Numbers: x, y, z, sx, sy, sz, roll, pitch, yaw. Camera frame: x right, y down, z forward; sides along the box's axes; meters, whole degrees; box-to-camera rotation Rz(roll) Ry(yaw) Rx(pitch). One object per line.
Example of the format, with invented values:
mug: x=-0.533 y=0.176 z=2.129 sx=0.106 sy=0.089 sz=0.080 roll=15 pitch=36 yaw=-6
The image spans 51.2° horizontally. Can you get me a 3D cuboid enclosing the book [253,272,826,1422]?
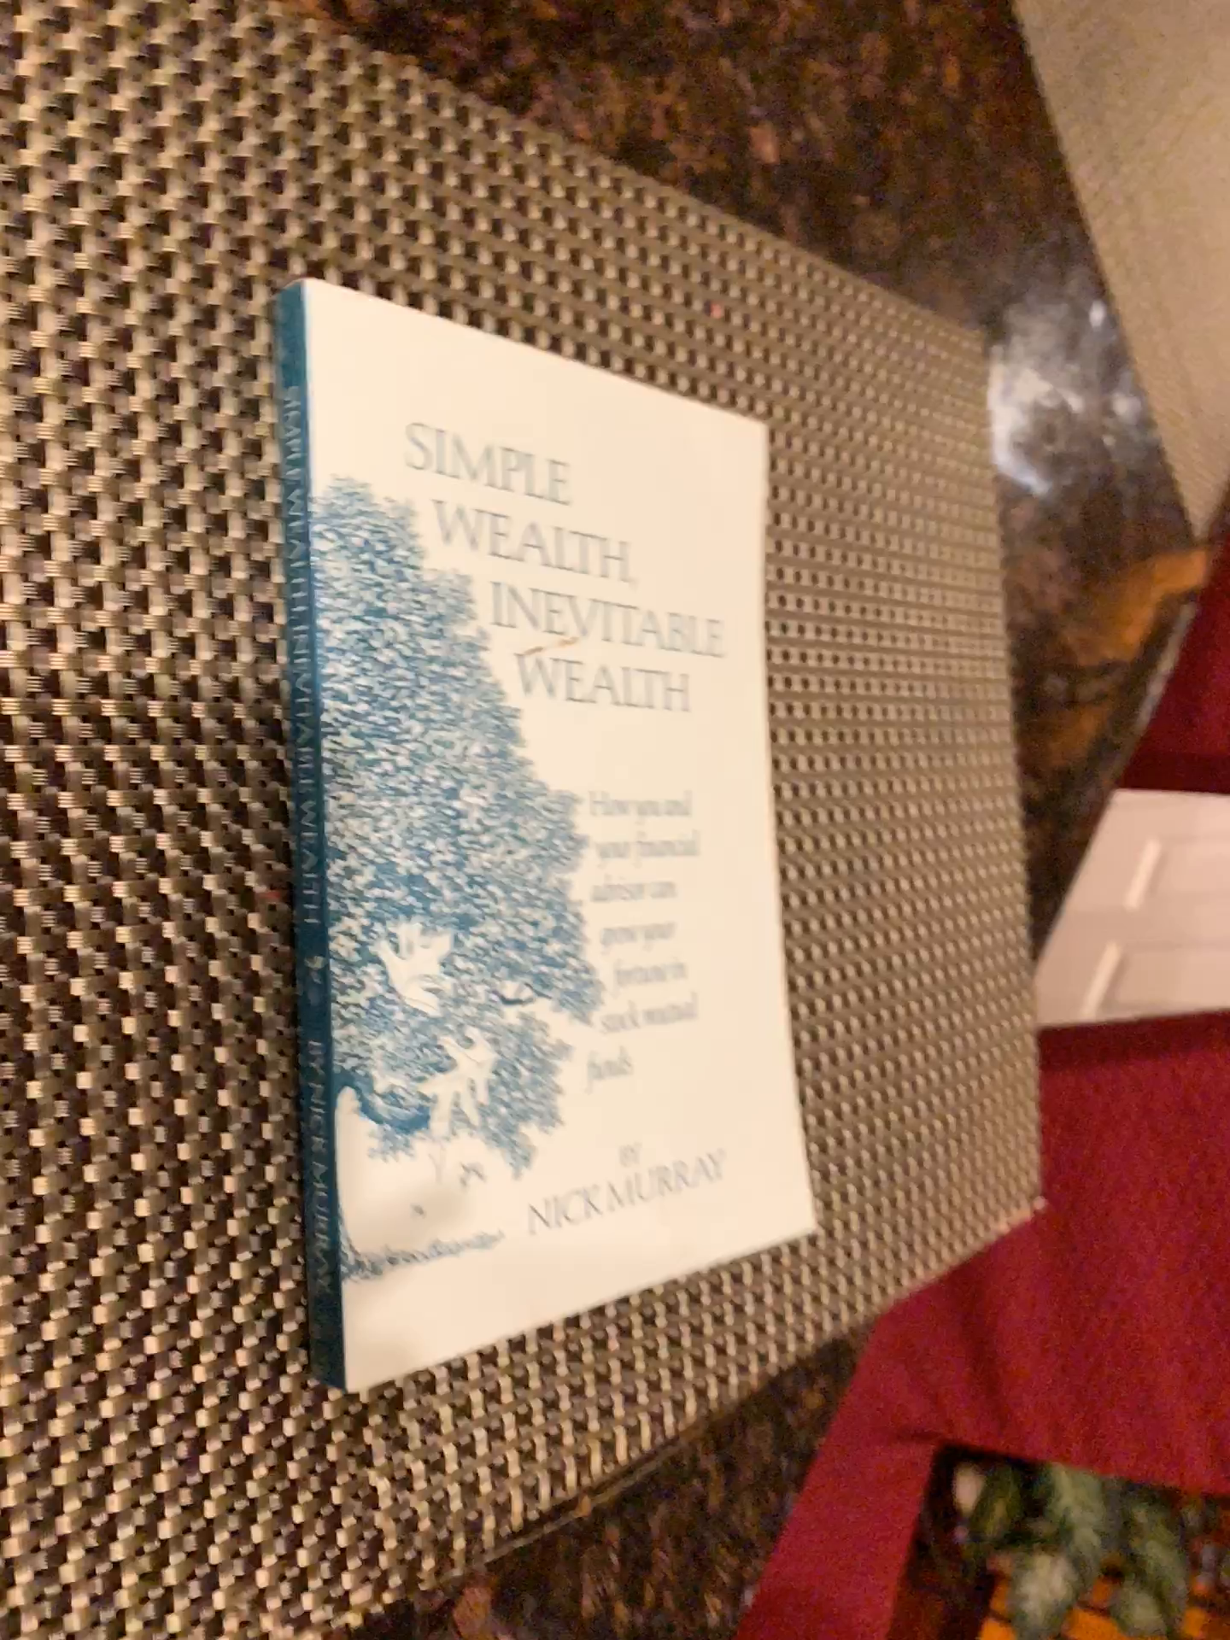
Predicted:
book: x=-0.008 y=0.003 z=0.291 sx=0.141 sy=0.021 sz=0.210 roll=-2 pitch=89 yaw=-44
